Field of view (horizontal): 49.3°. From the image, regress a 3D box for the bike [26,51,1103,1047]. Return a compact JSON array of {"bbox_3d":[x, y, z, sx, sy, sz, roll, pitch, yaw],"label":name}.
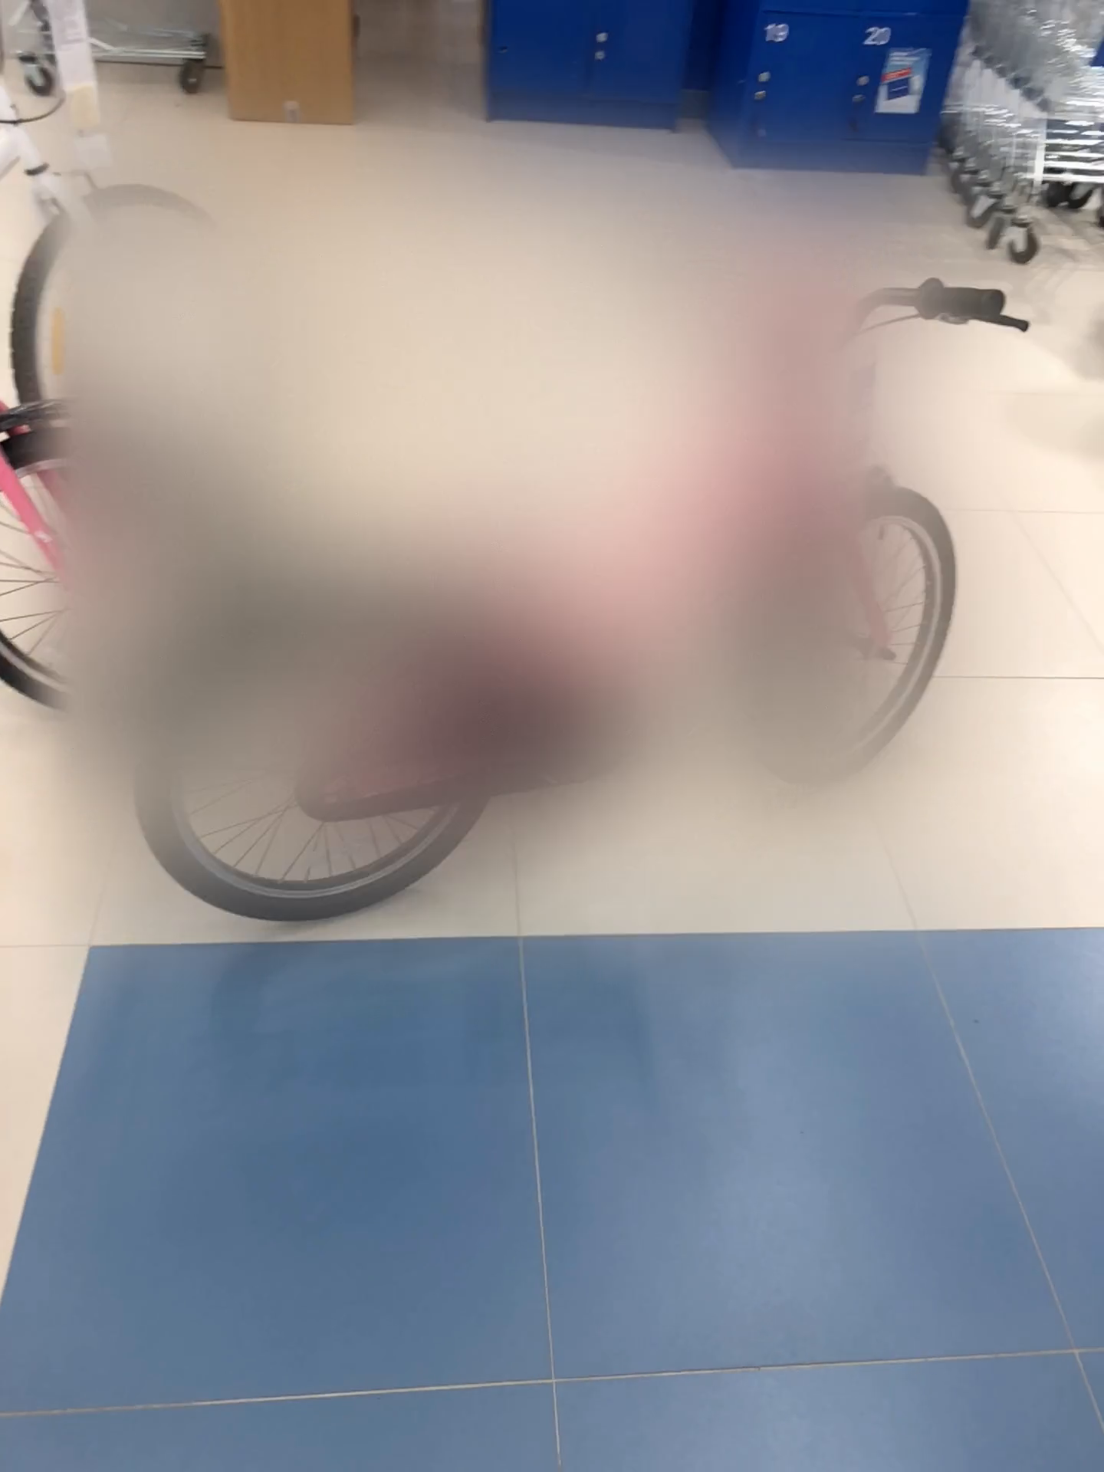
[{"bbox_3d":[0.089,-0.308,1.645,1.298,0.834,0.558,-19,46,-21],"label":"bike"}]
